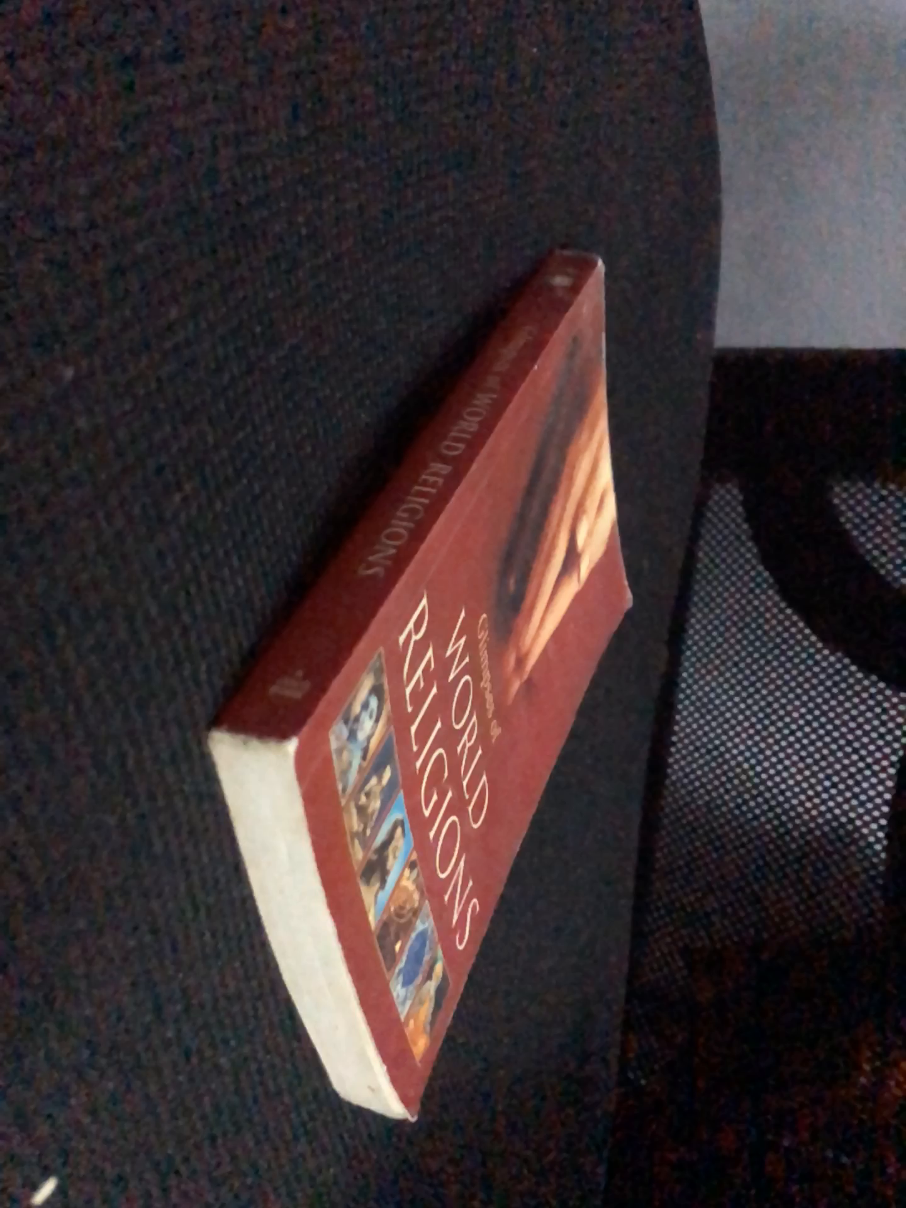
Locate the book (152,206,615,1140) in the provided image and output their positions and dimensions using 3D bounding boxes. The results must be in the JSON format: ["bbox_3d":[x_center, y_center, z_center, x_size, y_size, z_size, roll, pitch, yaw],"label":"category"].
[{"bbox_3d":[0.008,0.005,0.259,0.201,0.020,0.140,-61,152,-44],"label":"book"}]
